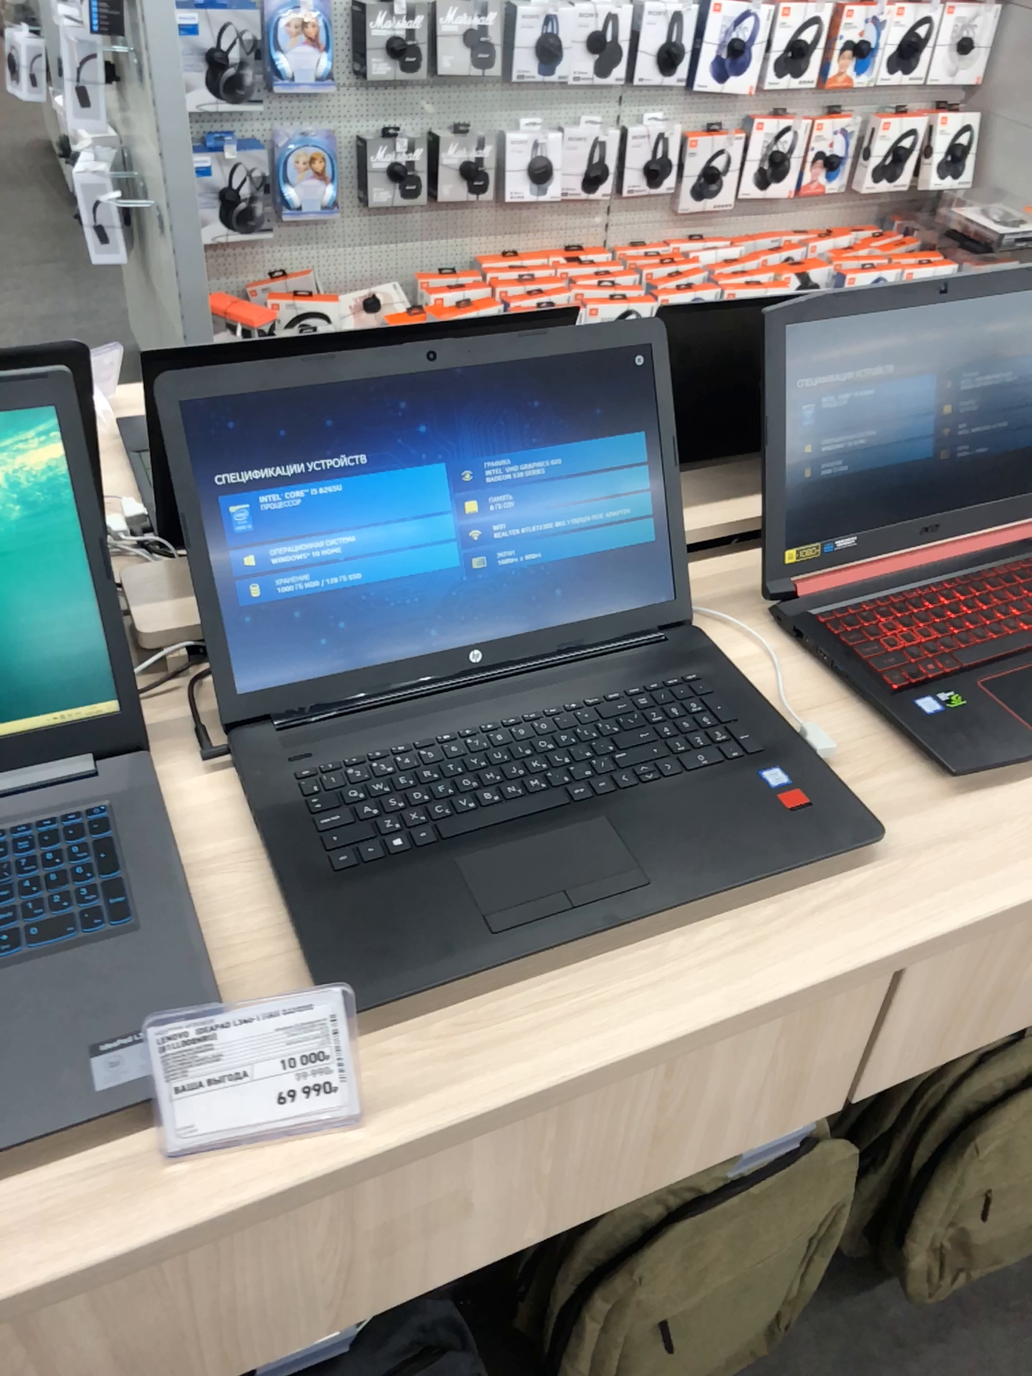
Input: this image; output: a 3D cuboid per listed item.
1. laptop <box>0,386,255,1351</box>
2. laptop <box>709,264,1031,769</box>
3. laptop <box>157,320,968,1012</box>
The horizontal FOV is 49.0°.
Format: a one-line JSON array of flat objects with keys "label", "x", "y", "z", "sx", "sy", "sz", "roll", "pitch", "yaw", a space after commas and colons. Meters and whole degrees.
[{"label": "laptop", "x": -0.401, "y": 0.040, "z": 0.583, "sx": 0.381, "sy": 0.226, "sz": 0.373, "roll": -13, "pitch": 43, "yaw": -26}, {"label": "laptop", "x": 0.449, "y": -0.163, "z": 0.948, "sx": 0.403, "sy": 0.224, "sz": 0.303, "roll": -16, "pitch": 46, "yaw": -23}, {"label": "laptop", "x": 0.004, "y": -0.056, "z": 0.776, "sx": 0.388, "sy": 0.213, "sz": 0.374, "roll": -14, "pitch": 43, "yaw": -22}]
